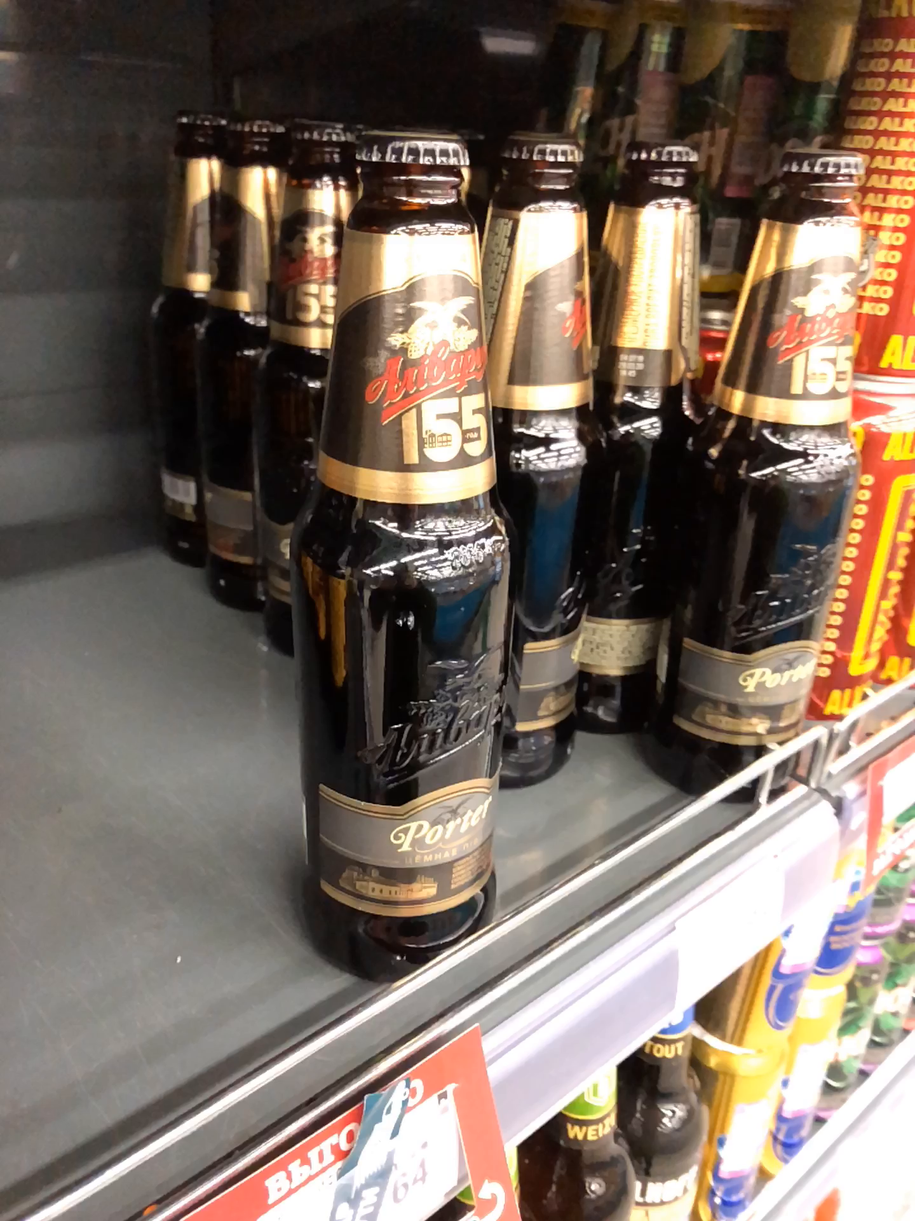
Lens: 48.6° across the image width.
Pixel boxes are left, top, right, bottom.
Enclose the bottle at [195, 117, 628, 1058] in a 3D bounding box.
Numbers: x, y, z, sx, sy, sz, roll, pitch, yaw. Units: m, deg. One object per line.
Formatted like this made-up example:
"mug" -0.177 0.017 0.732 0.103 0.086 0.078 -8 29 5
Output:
"bottle" -0.021 -0.002 0.312 0.080 0.263 0.080 3 25 -1
